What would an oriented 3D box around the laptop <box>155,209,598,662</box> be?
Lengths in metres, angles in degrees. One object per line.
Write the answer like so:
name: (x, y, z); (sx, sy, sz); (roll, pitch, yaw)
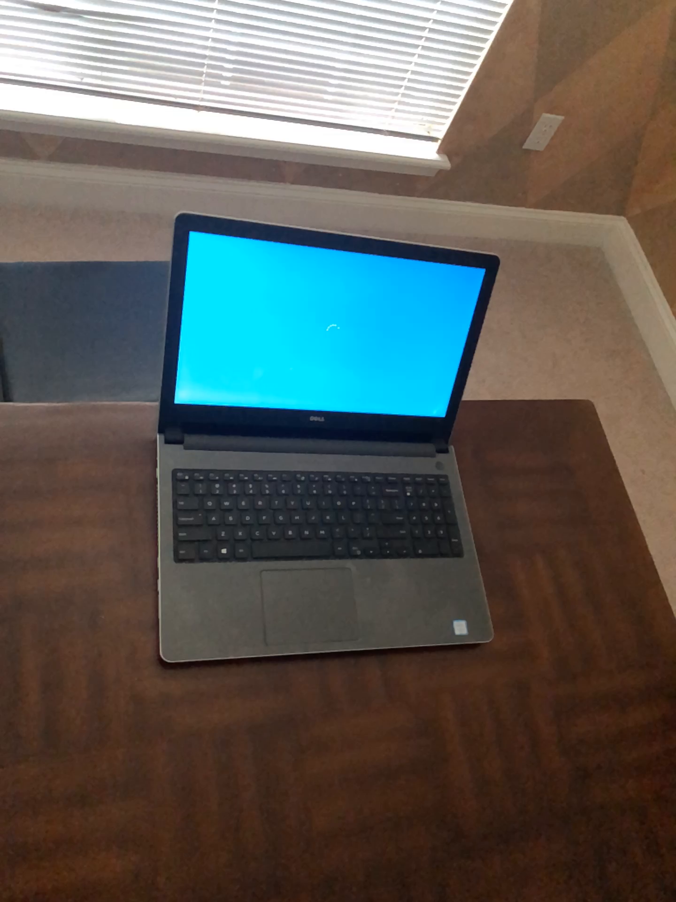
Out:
laptop: (0.009, -0.009, 0.781); (0.367, 0.199, 0.393); (2, 62, -20)
